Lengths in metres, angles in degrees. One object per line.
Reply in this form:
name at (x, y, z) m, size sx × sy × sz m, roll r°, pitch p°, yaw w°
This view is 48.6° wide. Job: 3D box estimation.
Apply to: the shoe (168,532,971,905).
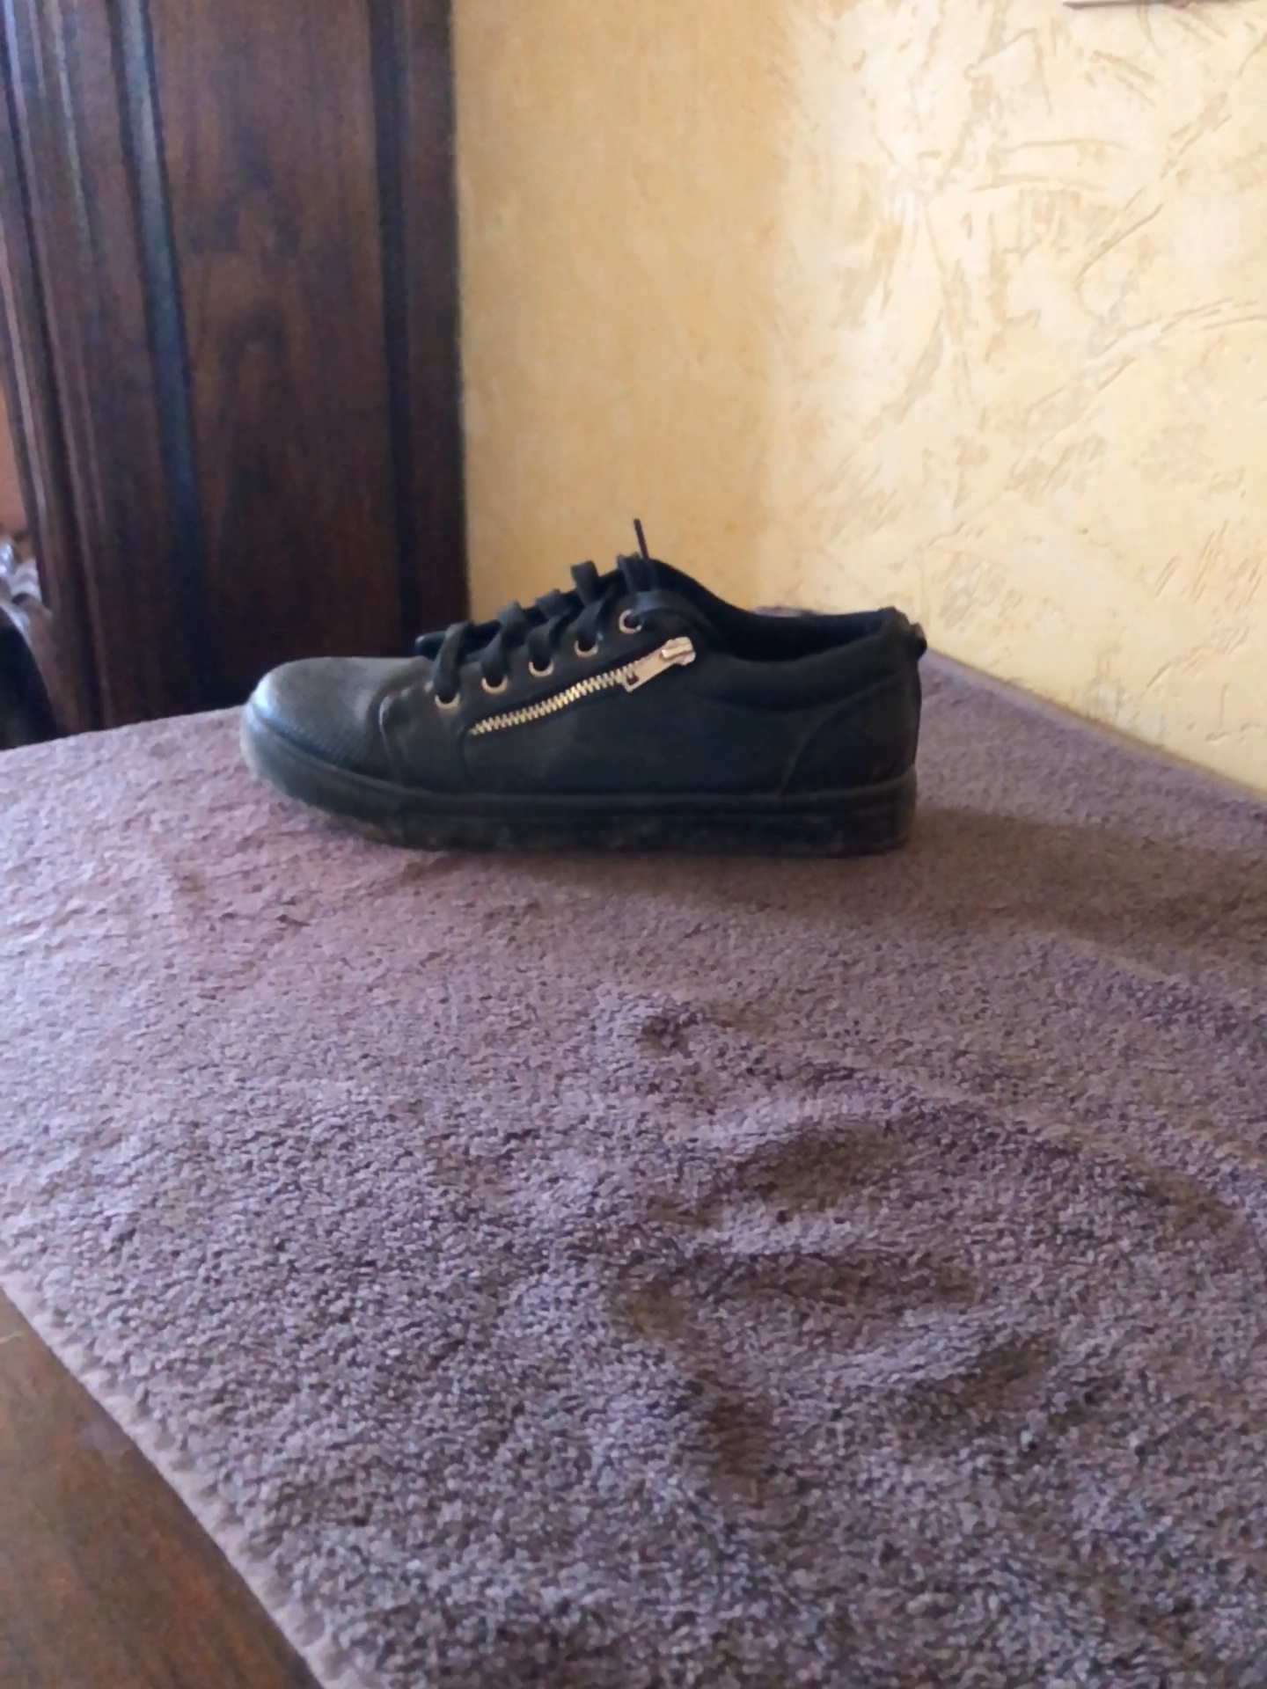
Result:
shoe at (-0.019, -0.053, 0.525) m, size 0.270 × 0.090 × 0.101 m, roll 5°, pitch 25°, yaw 8°
